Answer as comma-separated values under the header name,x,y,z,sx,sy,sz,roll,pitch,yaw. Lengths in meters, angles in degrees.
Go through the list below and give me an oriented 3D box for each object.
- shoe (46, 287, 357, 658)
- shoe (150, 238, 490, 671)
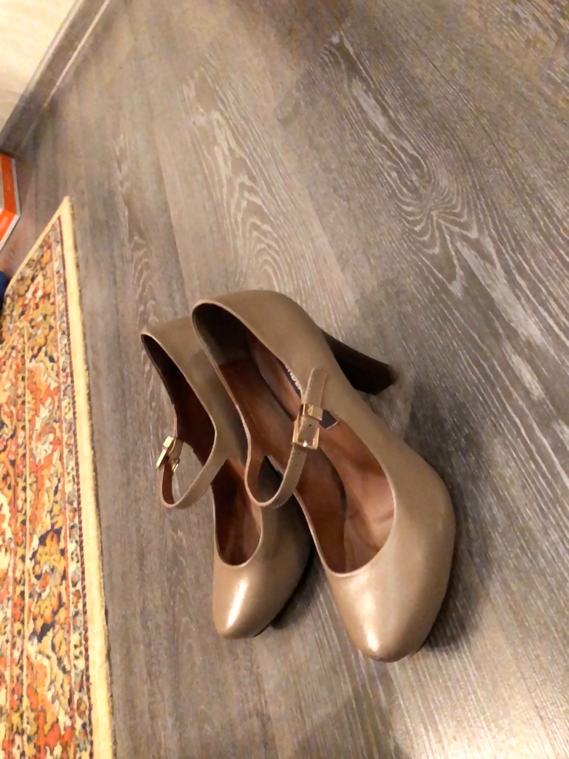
name,x,y,z,sx,sy,sz,roll,pitch,yaw
shoe,-0.051,0.069,0.450,0.090,0.149,0.220,-1,72,50
shoe,0.019,0.054,0.373,0.090,0.159,0.211,-29,53,39
